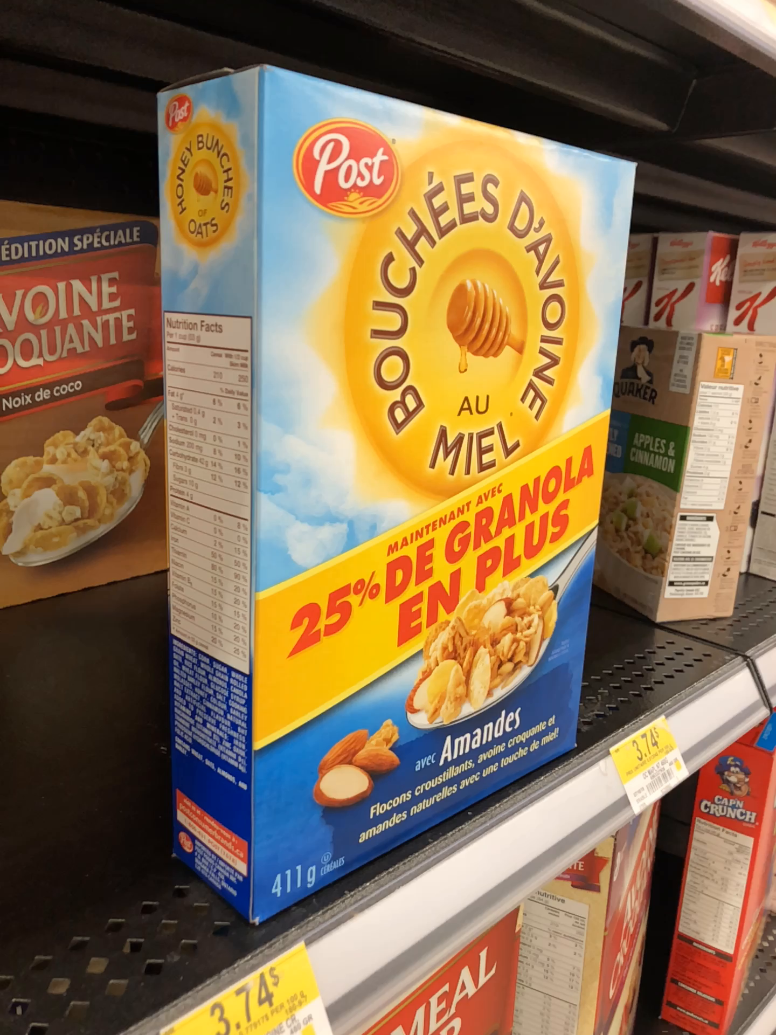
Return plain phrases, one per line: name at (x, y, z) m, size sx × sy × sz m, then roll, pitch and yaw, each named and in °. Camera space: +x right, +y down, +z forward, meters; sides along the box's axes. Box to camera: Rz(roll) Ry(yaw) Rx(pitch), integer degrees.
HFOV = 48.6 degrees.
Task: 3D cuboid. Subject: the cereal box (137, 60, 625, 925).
cereal box at (0.005, -0.012, 0.347) m, size 0.190 × 0.269 × 0.060 m, roll -9°, pitch 17°, yaw -42°
